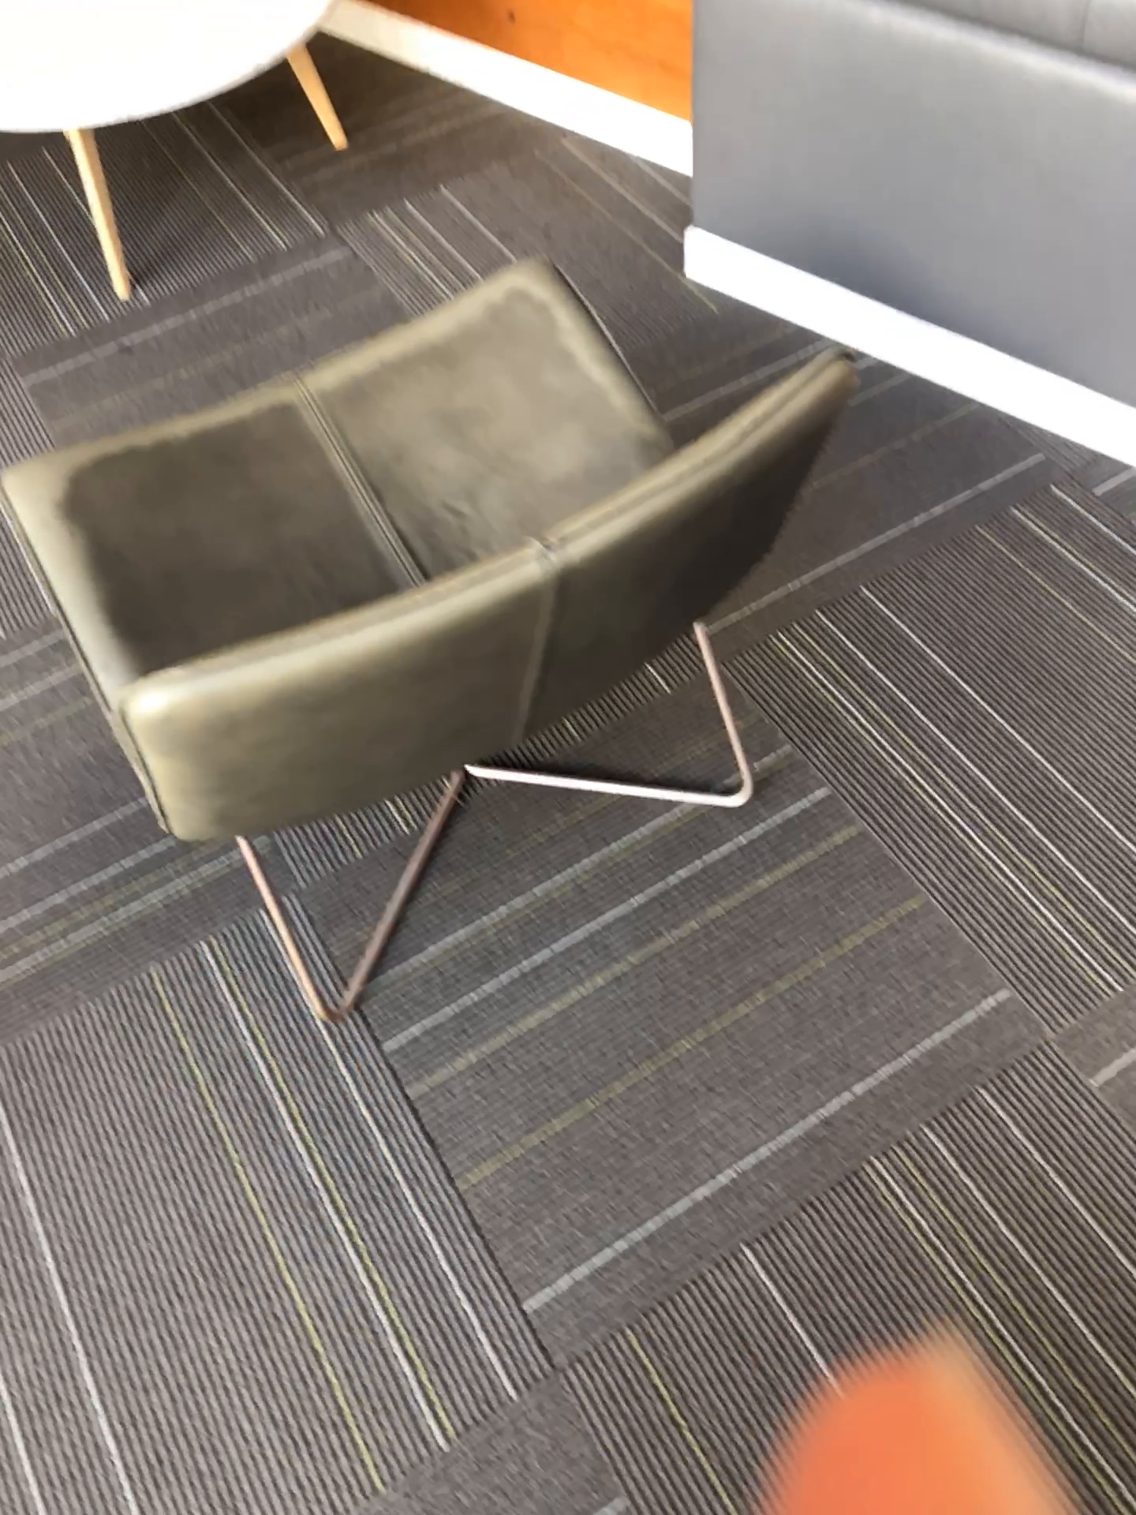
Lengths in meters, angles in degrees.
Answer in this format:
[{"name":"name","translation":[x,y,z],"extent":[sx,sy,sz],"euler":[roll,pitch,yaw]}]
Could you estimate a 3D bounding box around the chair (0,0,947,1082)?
[{"name":"chair","translation":[-0.194,-0.239,1.278],"extent":[0.670,0.877,0.652],"euler":[-27,63,-14]}]
